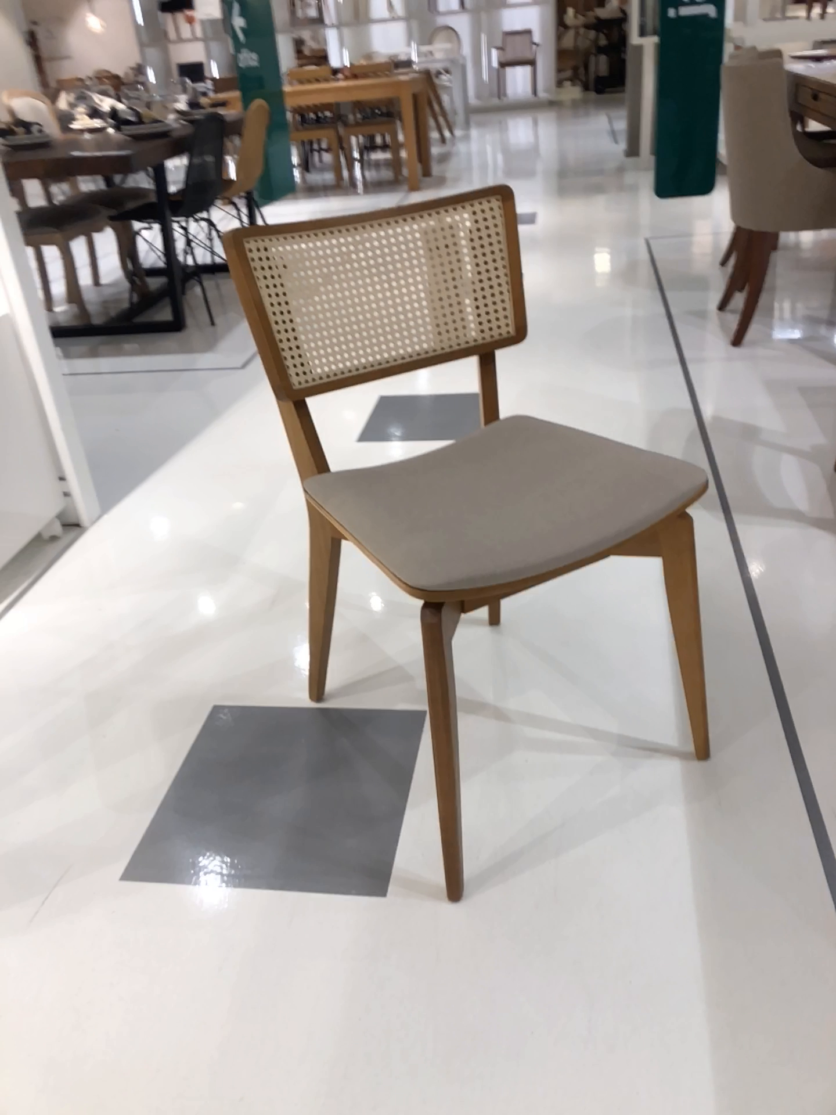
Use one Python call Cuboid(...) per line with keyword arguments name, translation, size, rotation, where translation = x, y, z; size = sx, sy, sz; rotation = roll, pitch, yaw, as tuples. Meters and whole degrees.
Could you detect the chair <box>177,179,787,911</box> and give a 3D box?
Cuboid(name="chair", translation=(0.075, -0.080, 1.366), size=(0.541, 0.794, 0.604), rotation=(-20, 32, -24))
